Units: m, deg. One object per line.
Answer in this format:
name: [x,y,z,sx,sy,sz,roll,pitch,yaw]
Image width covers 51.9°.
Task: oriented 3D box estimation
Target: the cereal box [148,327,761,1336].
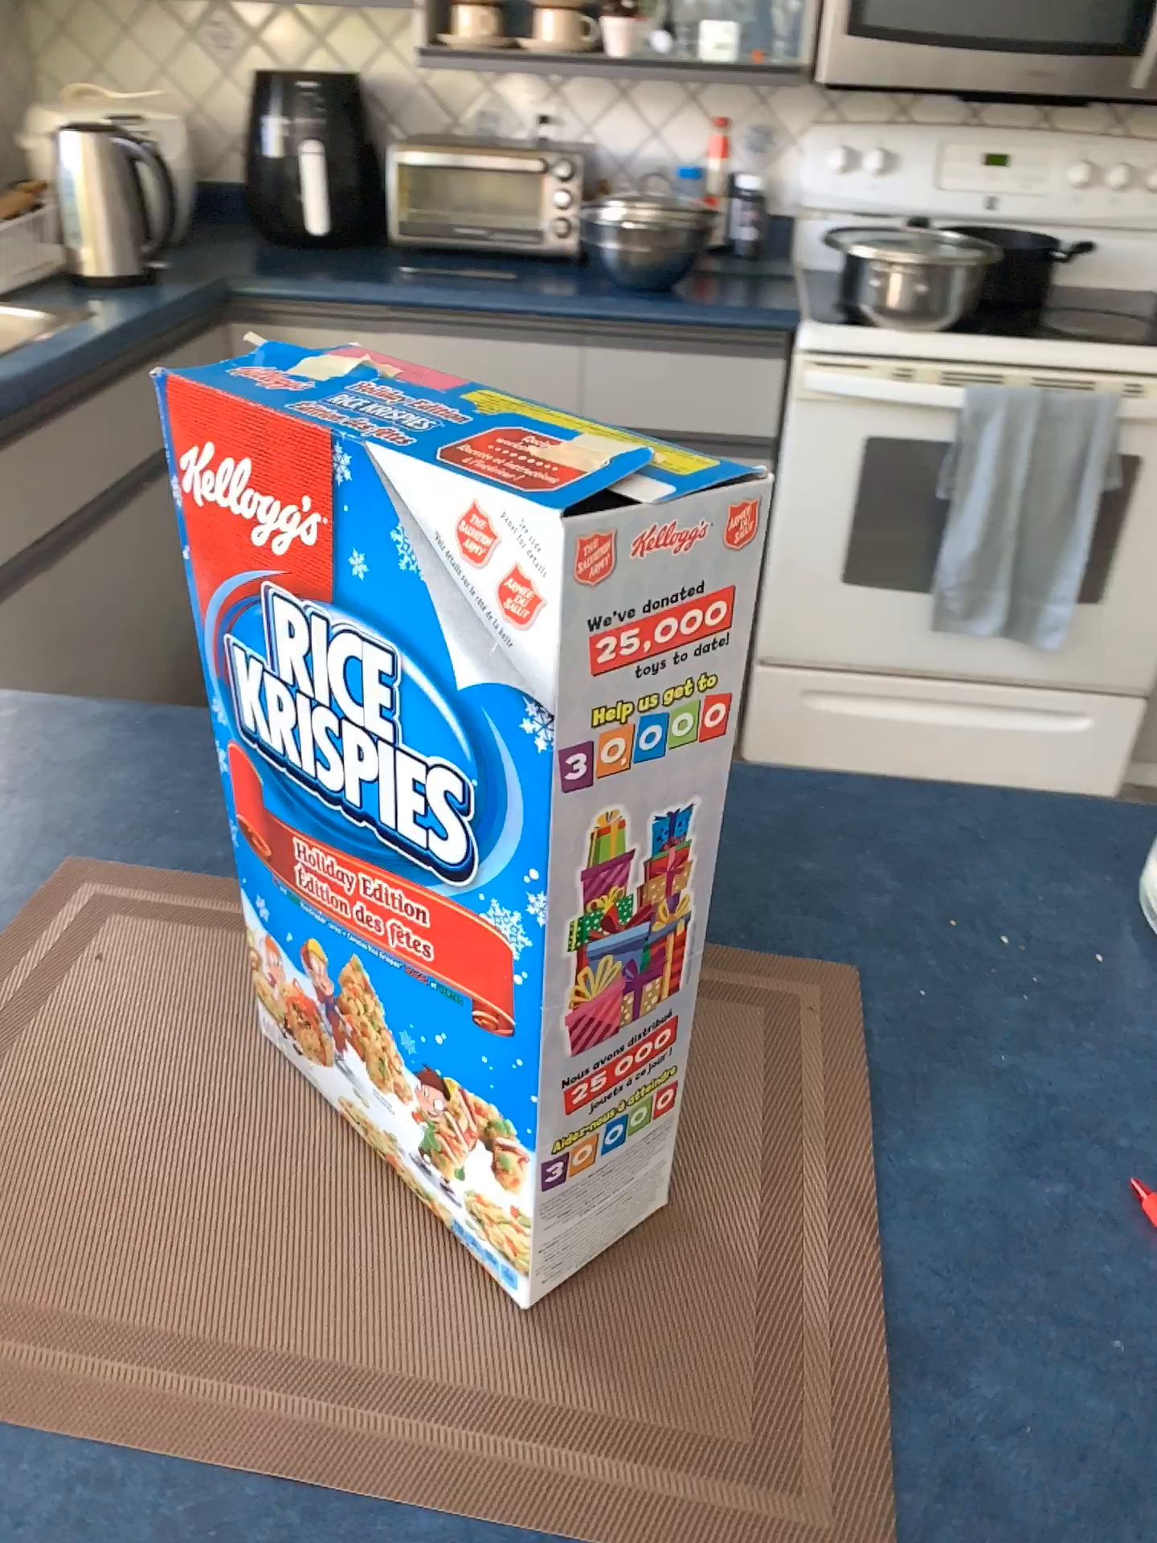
cereal box: [-0.061,0.019,0.469,0.080,0.327,0.221,-23,39,-38]
